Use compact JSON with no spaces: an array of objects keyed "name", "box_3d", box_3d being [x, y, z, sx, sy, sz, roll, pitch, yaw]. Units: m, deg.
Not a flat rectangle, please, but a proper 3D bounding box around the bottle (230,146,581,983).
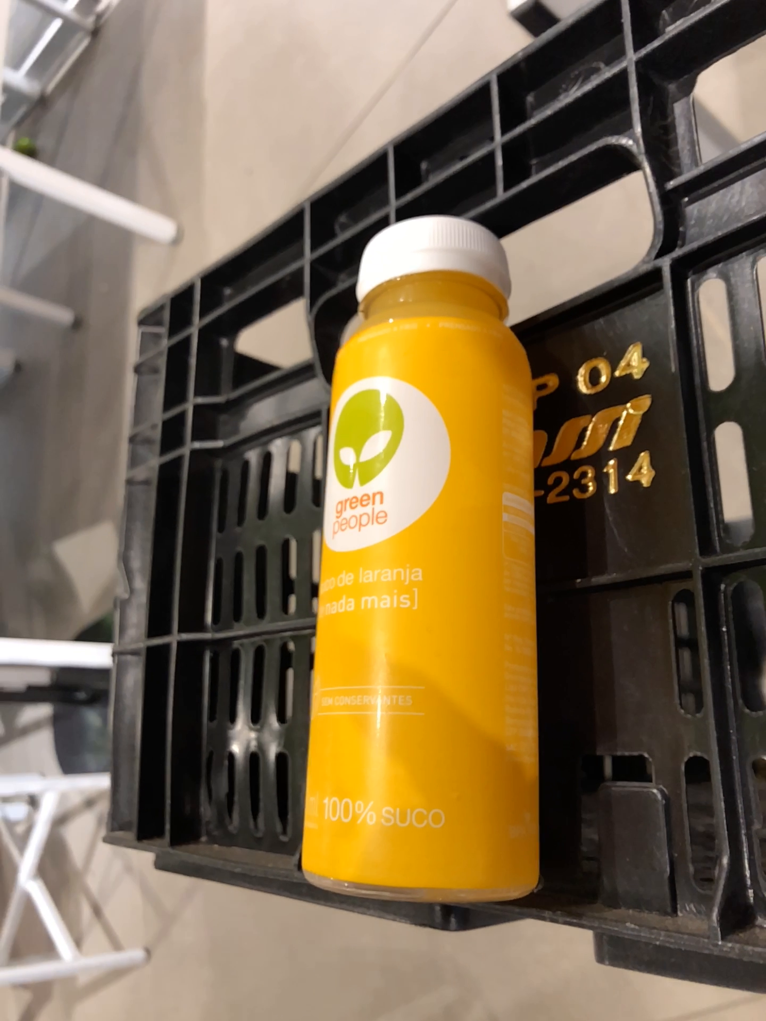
[{"name":"bottle","box_3d":[0.010,0.010,0.218,0.060,0.050,0.180,-13,66,45]}]
